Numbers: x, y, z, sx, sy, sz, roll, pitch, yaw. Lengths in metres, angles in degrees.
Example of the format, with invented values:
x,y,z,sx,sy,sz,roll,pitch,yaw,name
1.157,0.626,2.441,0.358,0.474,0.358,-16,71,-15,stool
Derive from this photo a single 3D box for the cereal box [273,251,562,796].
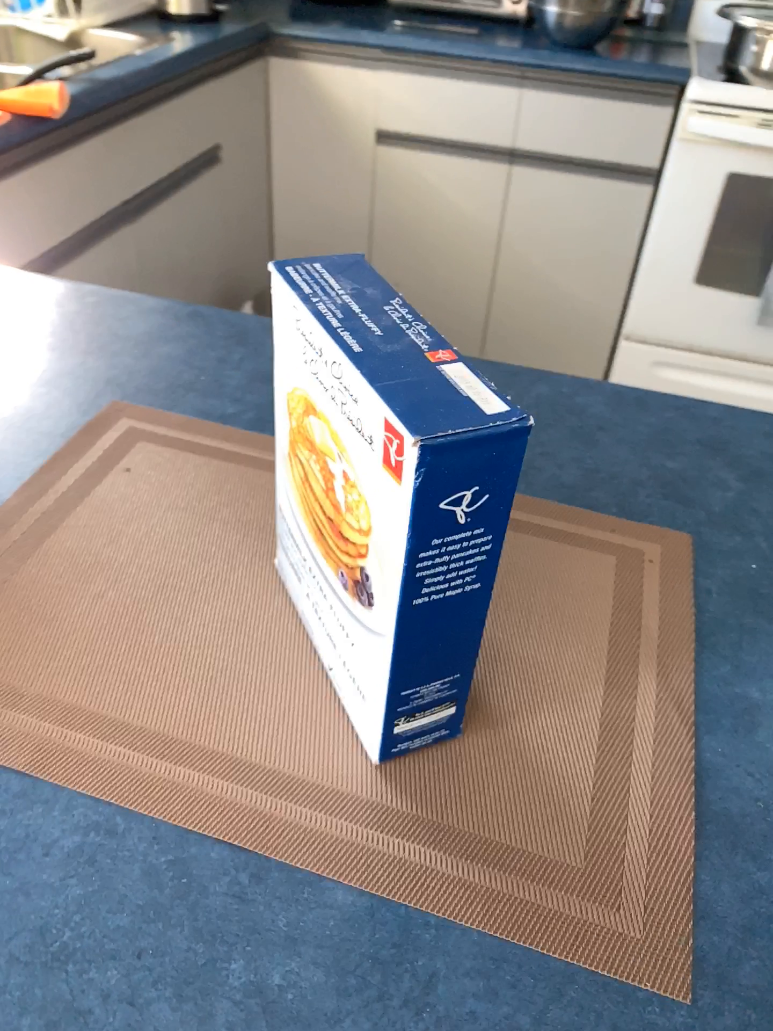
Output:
x,y,z,sx,sy,sz,roll,pitch,yaw,name
-0.002,0.003,0.402,0.050,0.208,0.171,-14,43,-21,cereal box
